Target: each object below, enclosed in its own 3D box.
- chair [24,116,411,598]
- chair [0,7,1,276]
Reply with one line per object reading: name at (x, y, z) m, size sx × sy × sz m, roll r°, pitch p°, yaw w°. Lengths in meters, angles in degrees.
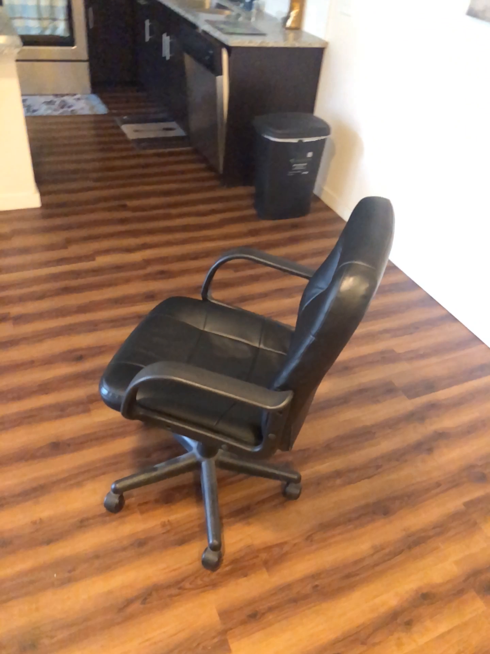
chair at (-0.045, 0.080, 1.510) m, size 0.667 × 1.012 × 0.666 m, roll 16°, pitch 39°, yaw 11°
chair at (-1.463, -0.816, 2.382) m, size 0.473 × 0.952 × 0.559 m, roll -13°, pitch 42°, yaw -22°
